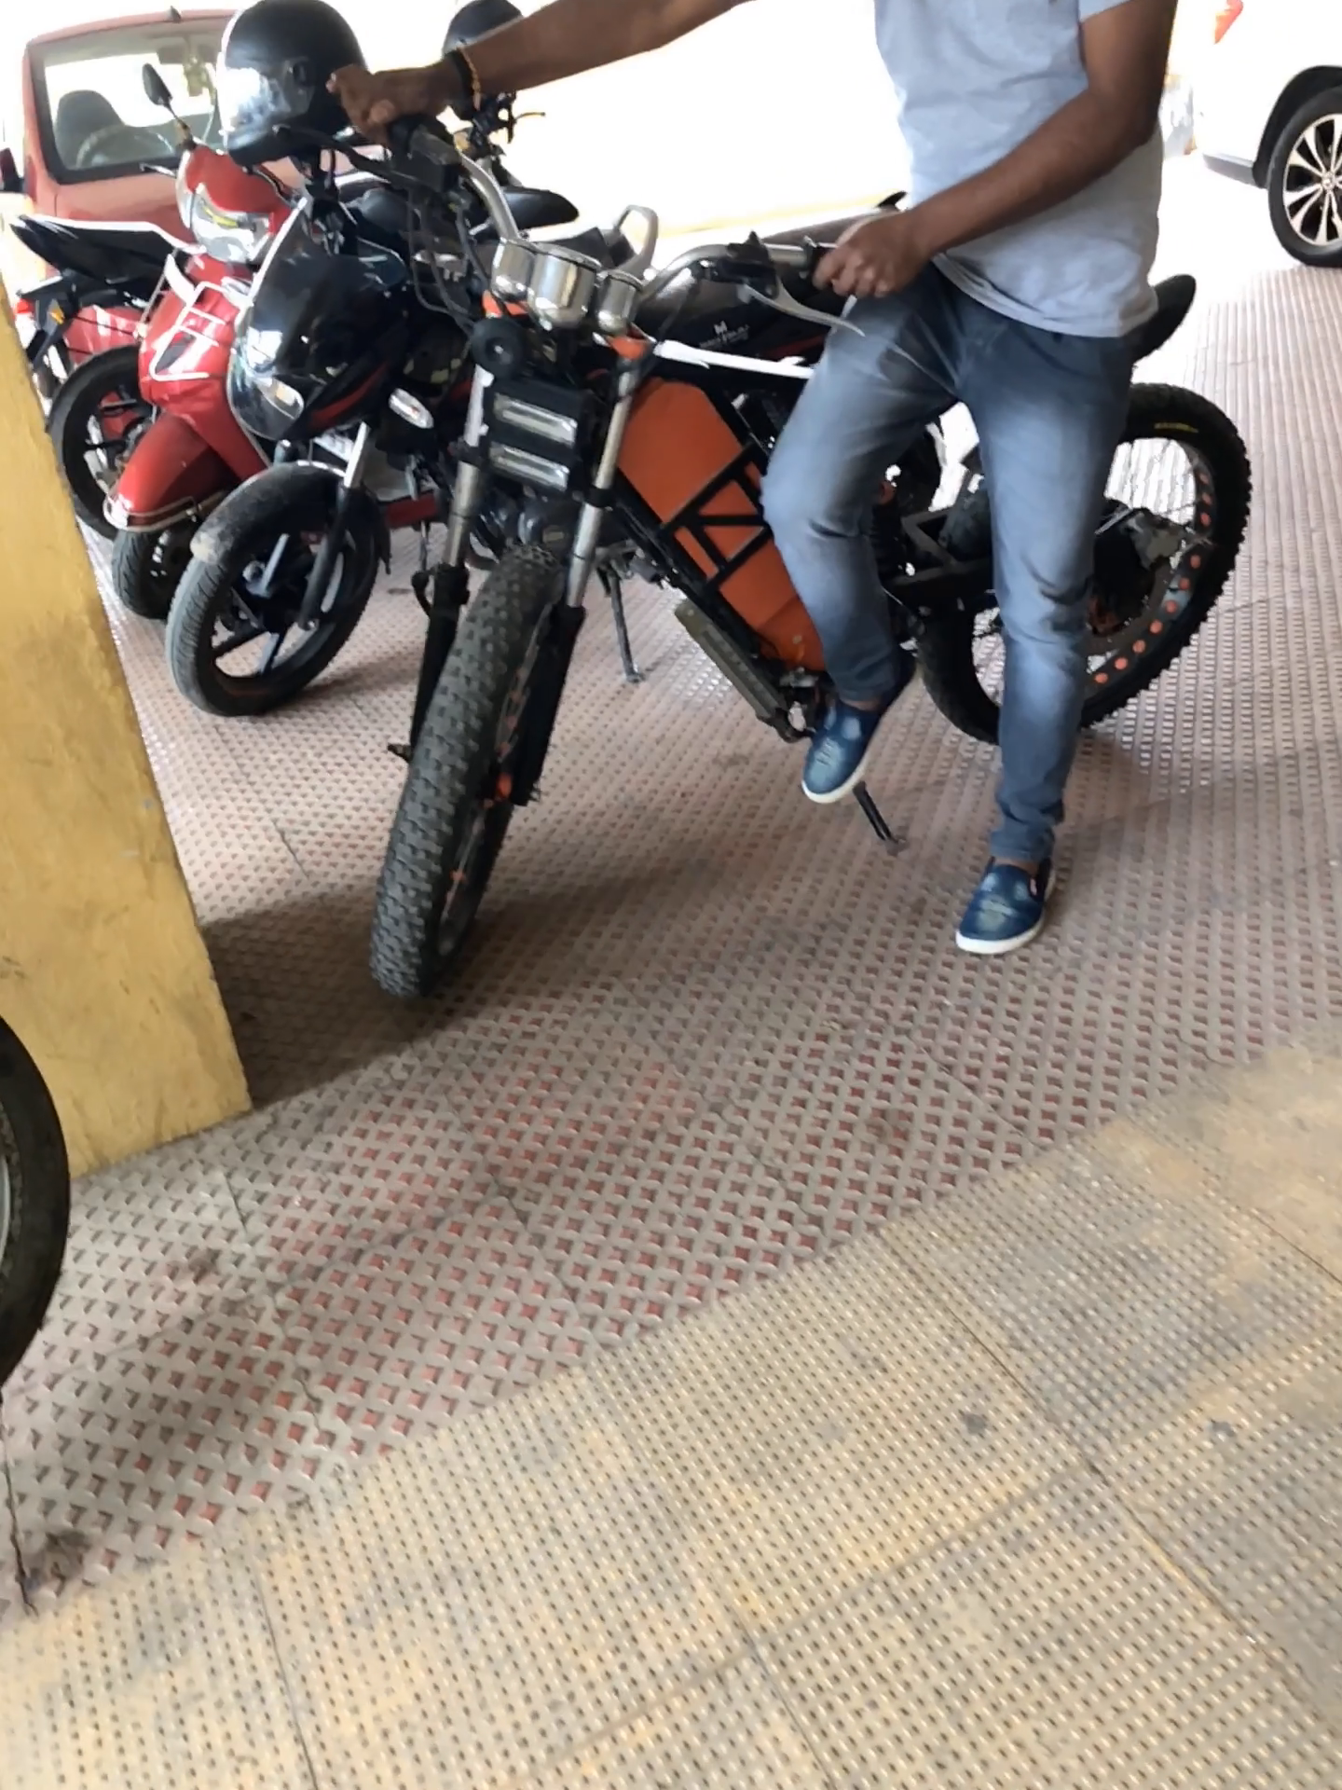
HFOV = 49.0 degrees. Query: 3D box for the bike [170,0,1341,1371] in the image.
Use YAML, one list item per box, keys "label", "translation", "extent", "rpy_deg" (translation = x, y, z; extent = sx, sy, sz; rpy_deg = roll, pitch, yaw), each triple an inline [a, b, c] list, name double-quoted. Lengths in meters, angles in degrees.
- label: "bike"
  translation: [0.345, -0.465, 2.143]
  extent: [1.753, 1.185, 0.756]
  rpy_deg: [-26, 35, -24]
